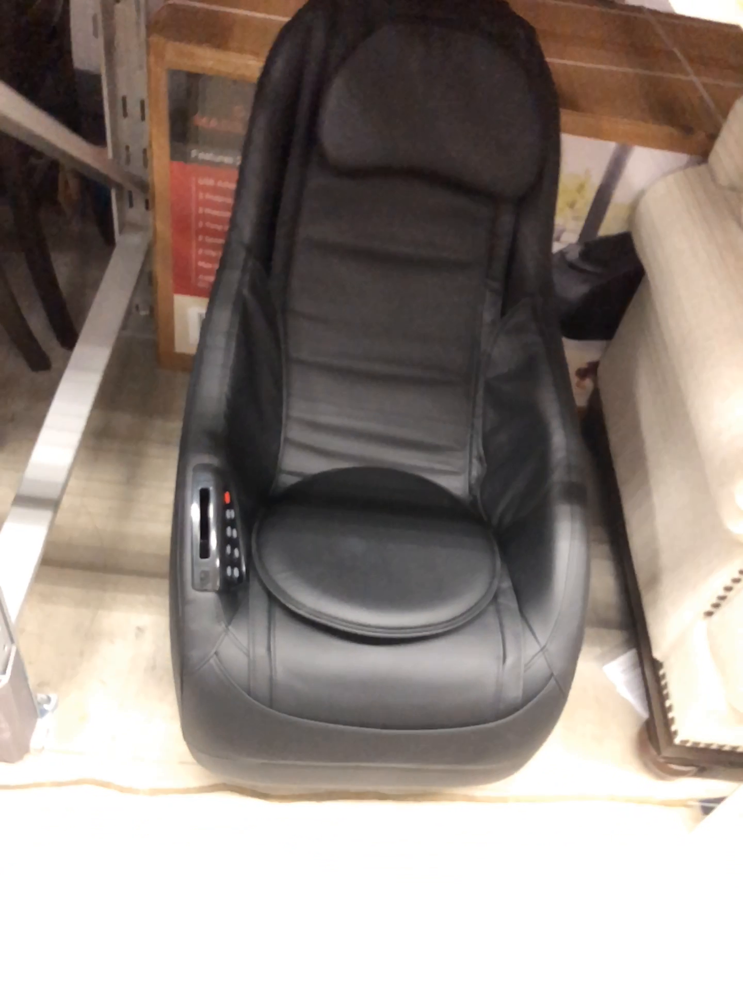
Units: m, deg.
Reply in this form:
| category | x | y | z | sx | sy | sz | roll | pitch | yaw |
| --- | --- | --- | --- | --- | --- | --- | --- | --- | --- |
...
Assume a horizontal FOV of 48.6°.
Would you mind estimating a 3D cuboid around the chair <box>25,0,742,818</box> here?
| category | x | y | z | sx | sy | sz | roll | pitch | yaw |
| --- | --- | --- | --- | --- | --- | --- | --- | --- | --- |
| chair | 0.039 | -0.096 | 1.050 | 0.650 | 0.848 | 0.701 | 4 | 49 | -9 |
